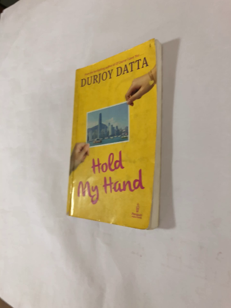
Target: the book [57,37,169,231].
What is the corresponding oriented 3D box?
[{"bbox_3d":[-0.008,-0.019,0.300,0.141,0.020,0.190,-4,80,39],"label":"book"}]
